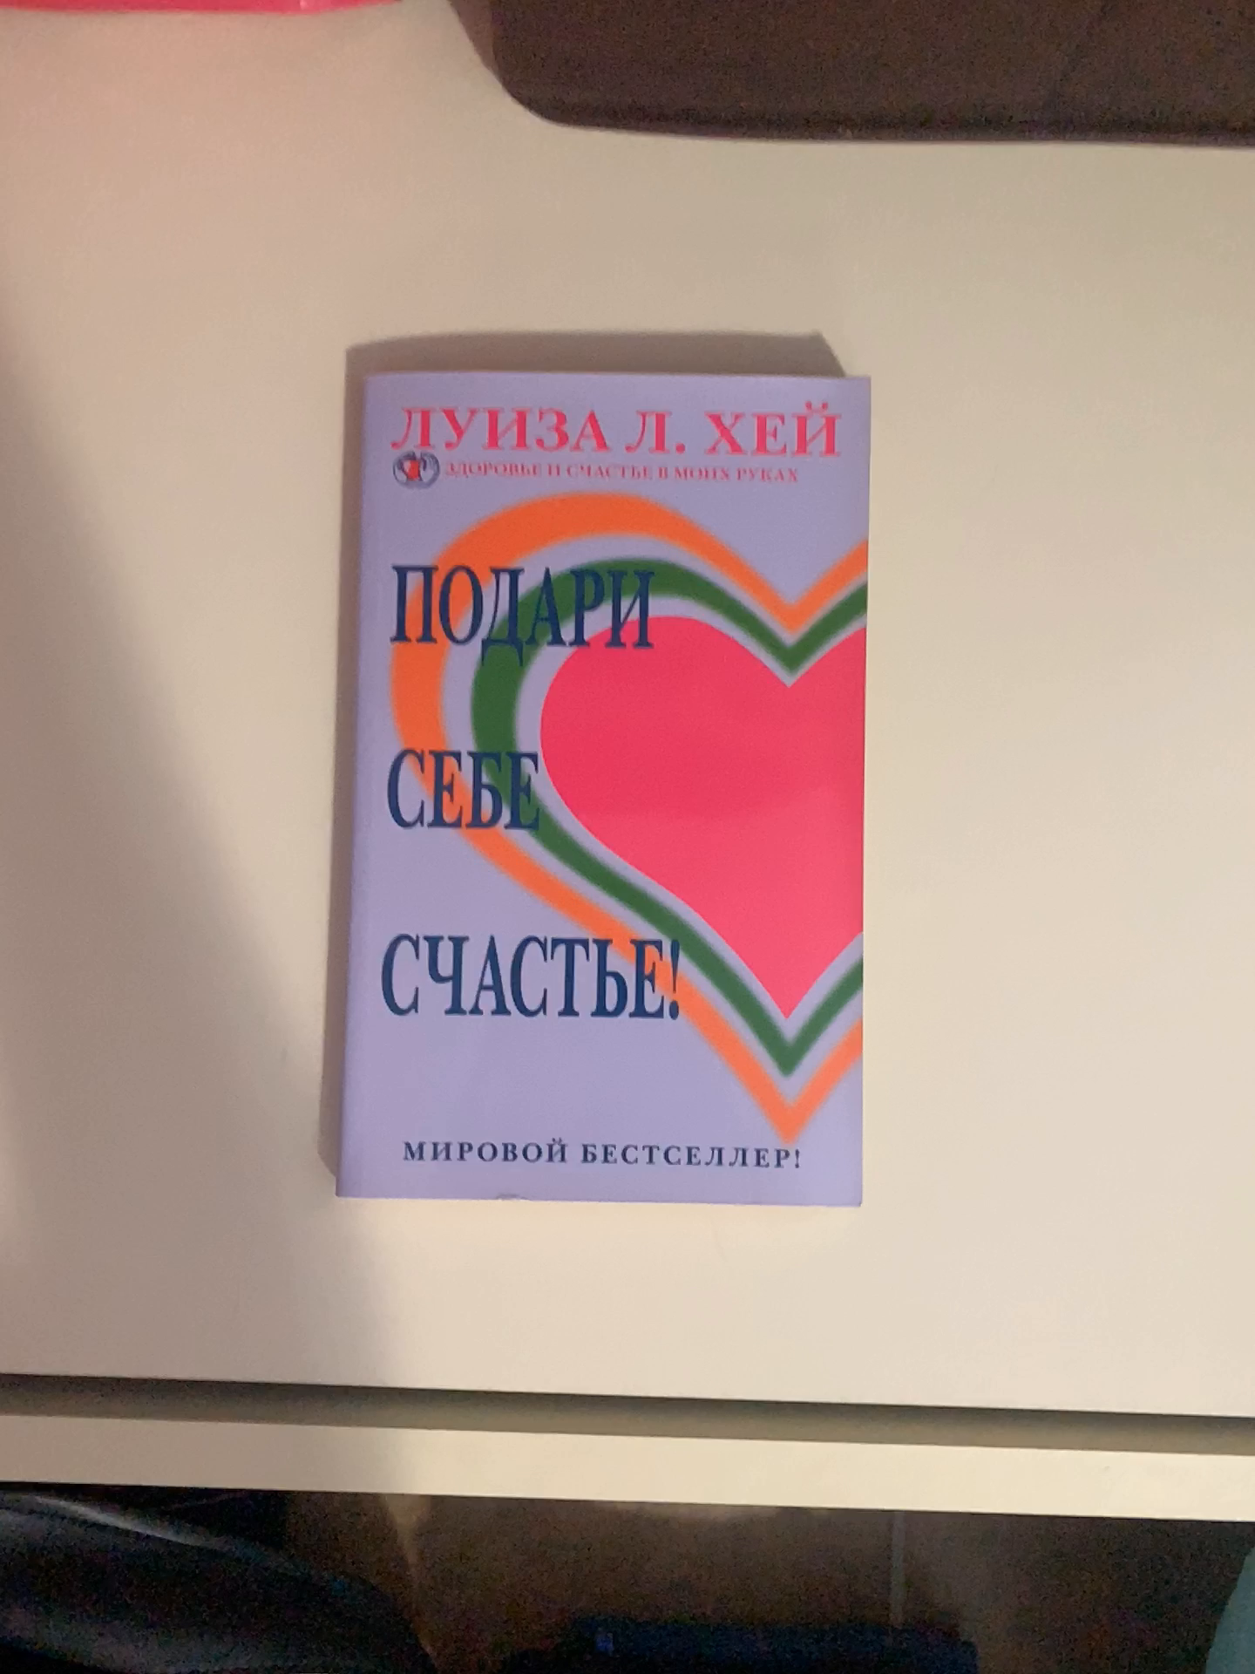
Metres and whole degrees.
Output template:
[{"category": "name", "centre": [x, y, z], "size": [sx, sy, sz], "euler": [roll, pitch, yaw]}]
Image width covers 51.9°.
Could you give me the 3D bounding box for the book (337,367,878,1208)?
[{"category": "book", "centre": [-0.004, -0.013, 0.307], "size": [0.123, 0.016, 0.194], "euler": [1, 87, 0]}]
